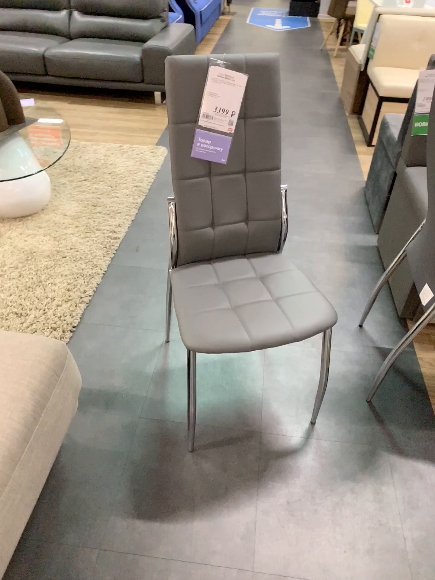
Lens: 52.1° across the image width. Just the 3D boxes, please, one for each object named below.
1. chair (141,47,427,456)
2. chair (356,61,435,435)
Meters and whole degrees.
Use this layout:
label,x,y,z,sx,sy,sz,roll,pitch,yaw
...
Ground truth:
label,x,y,z,sx,sy,sz,roll,pitch,yaw
chair,0.084,-0.077,1.308,0.470,1.024,0.533,-8,41,-12
chair,0.846,-0.080,1.392,0.550,1.024,0.453,8,40,7
